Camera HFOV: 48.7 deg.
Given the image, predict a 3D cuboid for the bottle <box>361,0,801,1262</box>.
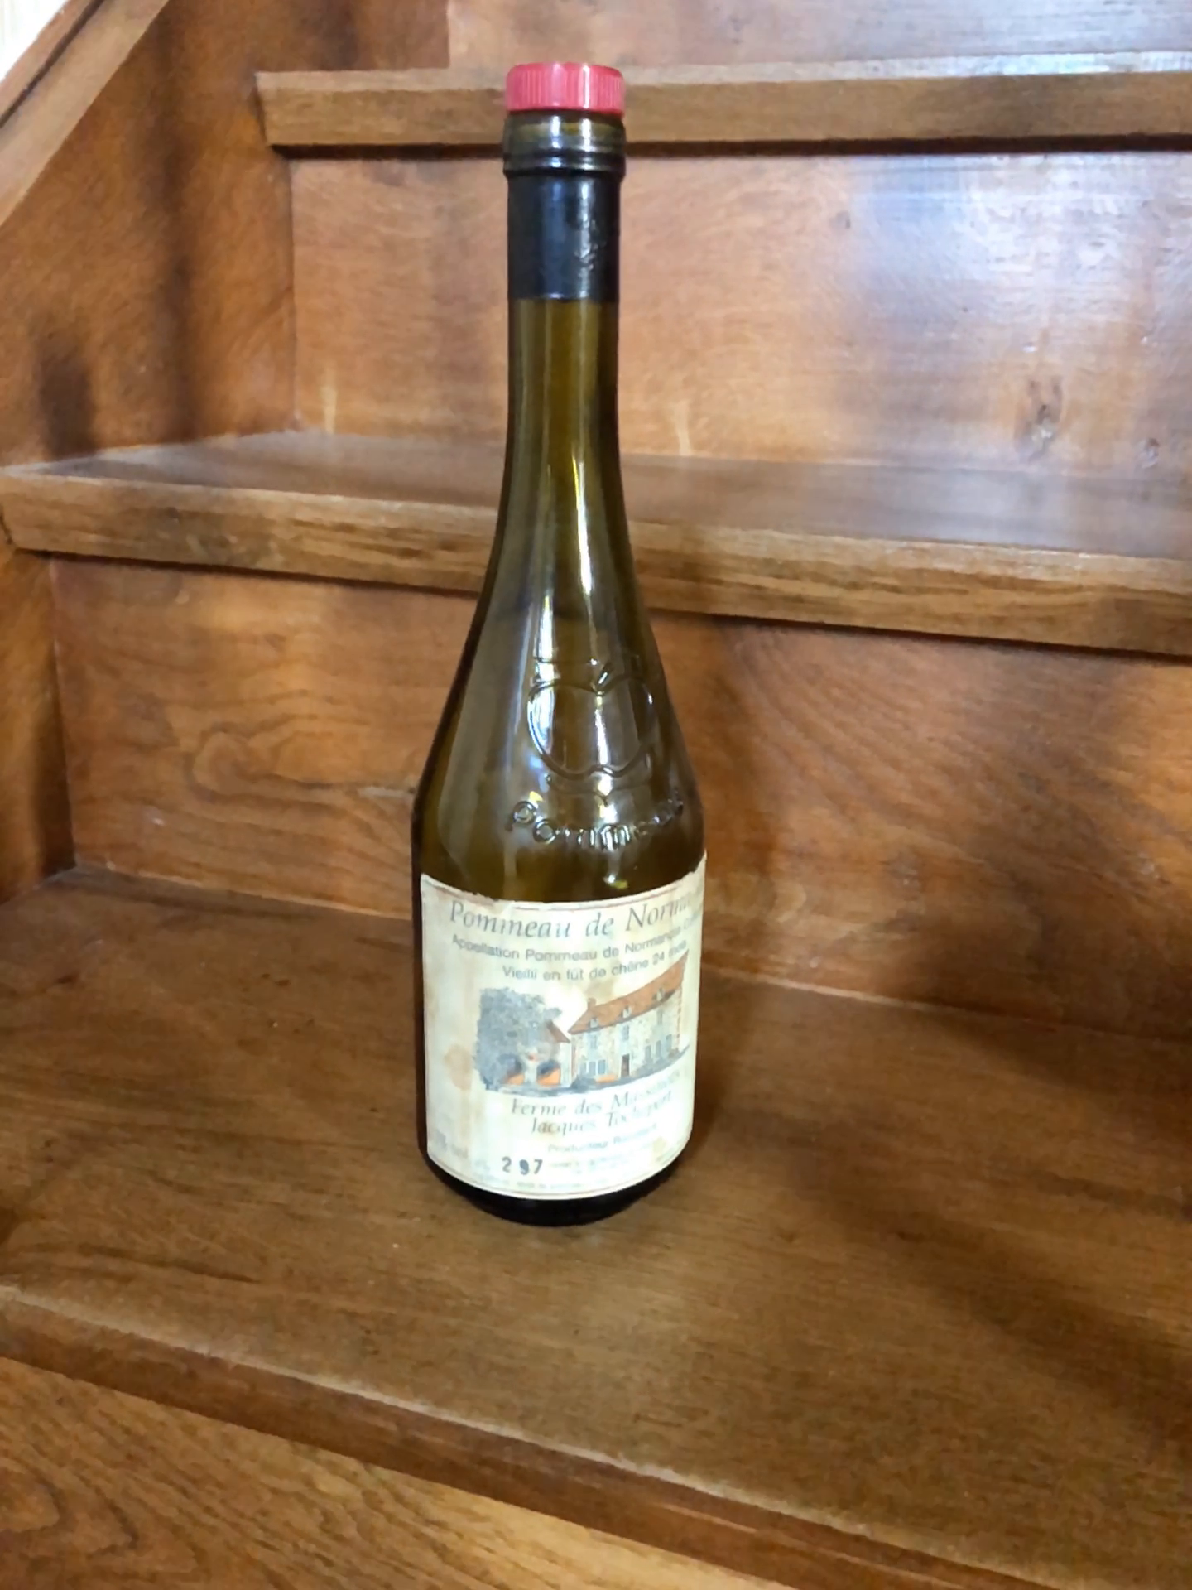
[{"bbox_3d":[-0.013,-0.034,0.369,0.090,0.309,0.090,1,18,0],"label":"bottle"}]
